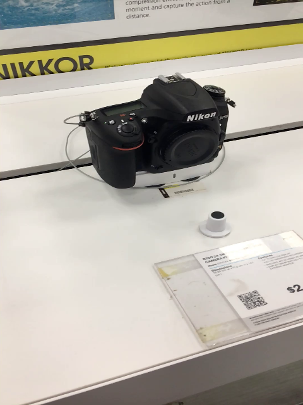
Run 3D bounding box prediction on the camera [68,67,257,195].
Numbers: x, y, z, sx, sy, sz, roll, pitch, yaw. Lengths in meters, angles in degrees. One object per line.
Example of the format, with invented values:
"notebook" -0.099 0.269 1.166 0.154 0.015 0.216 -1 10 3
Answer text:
"camera" 0.010 -0.078 0.426 0.157 0.093 0.077 -15 48 -15
